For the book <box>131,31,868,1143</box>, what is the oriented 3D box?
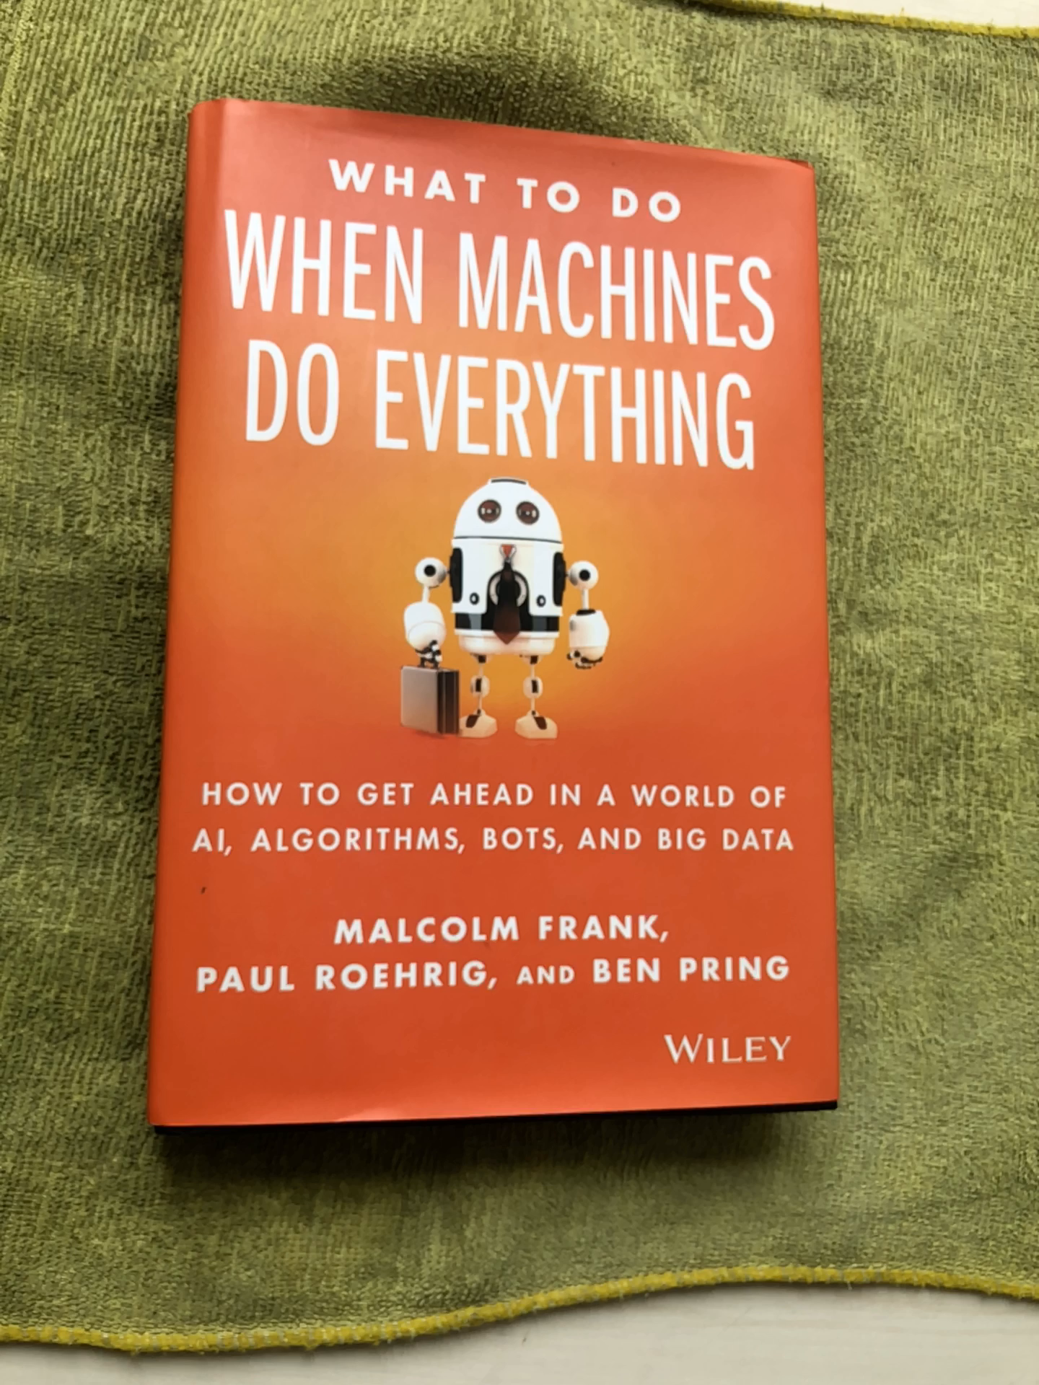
[{"bbox_3d":[-0.002,-0.024,0.281,0.160,0.040,0.240,2,83,-11],"label":"book"}]
